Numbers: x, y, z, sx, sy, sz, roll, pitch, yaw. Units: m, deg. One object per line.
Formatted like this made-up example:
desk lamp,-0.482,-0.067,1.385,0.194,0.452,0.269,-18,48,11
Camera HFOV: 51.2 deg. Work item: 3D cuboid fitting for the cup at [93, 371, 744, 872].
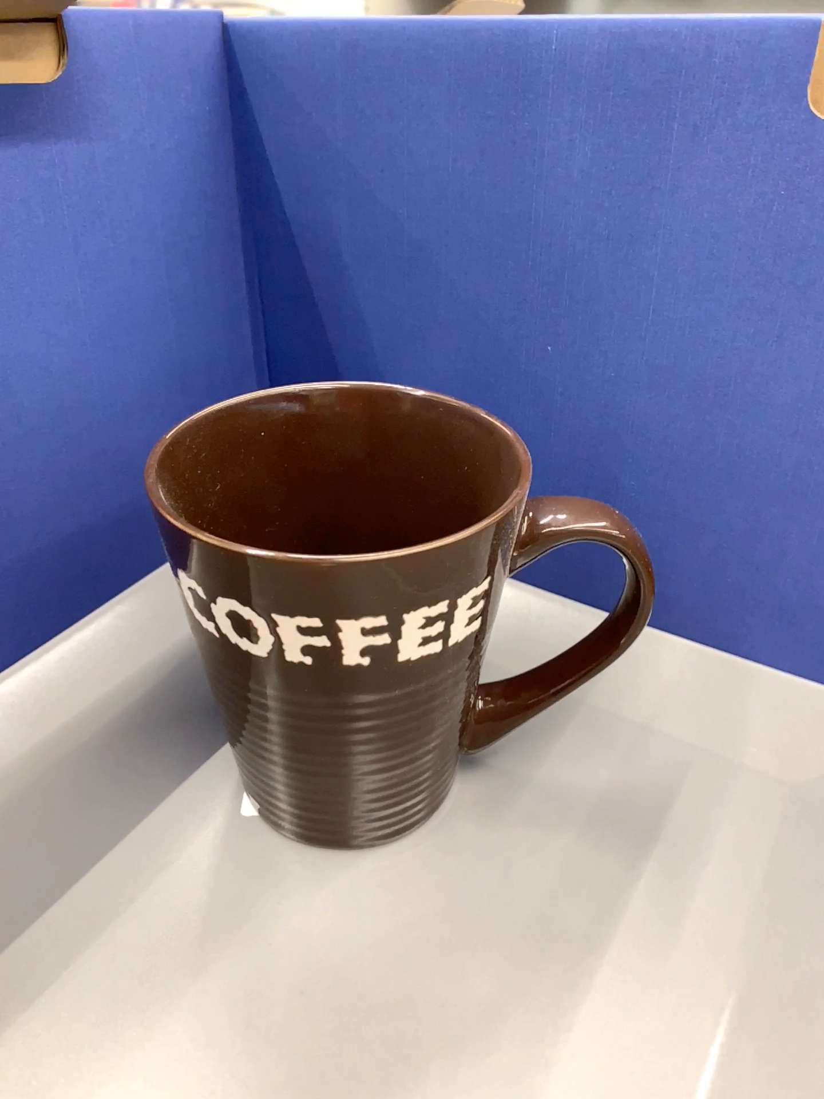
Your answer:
cup,0.000,0.015,0.232,0.128,0.098,0.090,-1,32,-2
